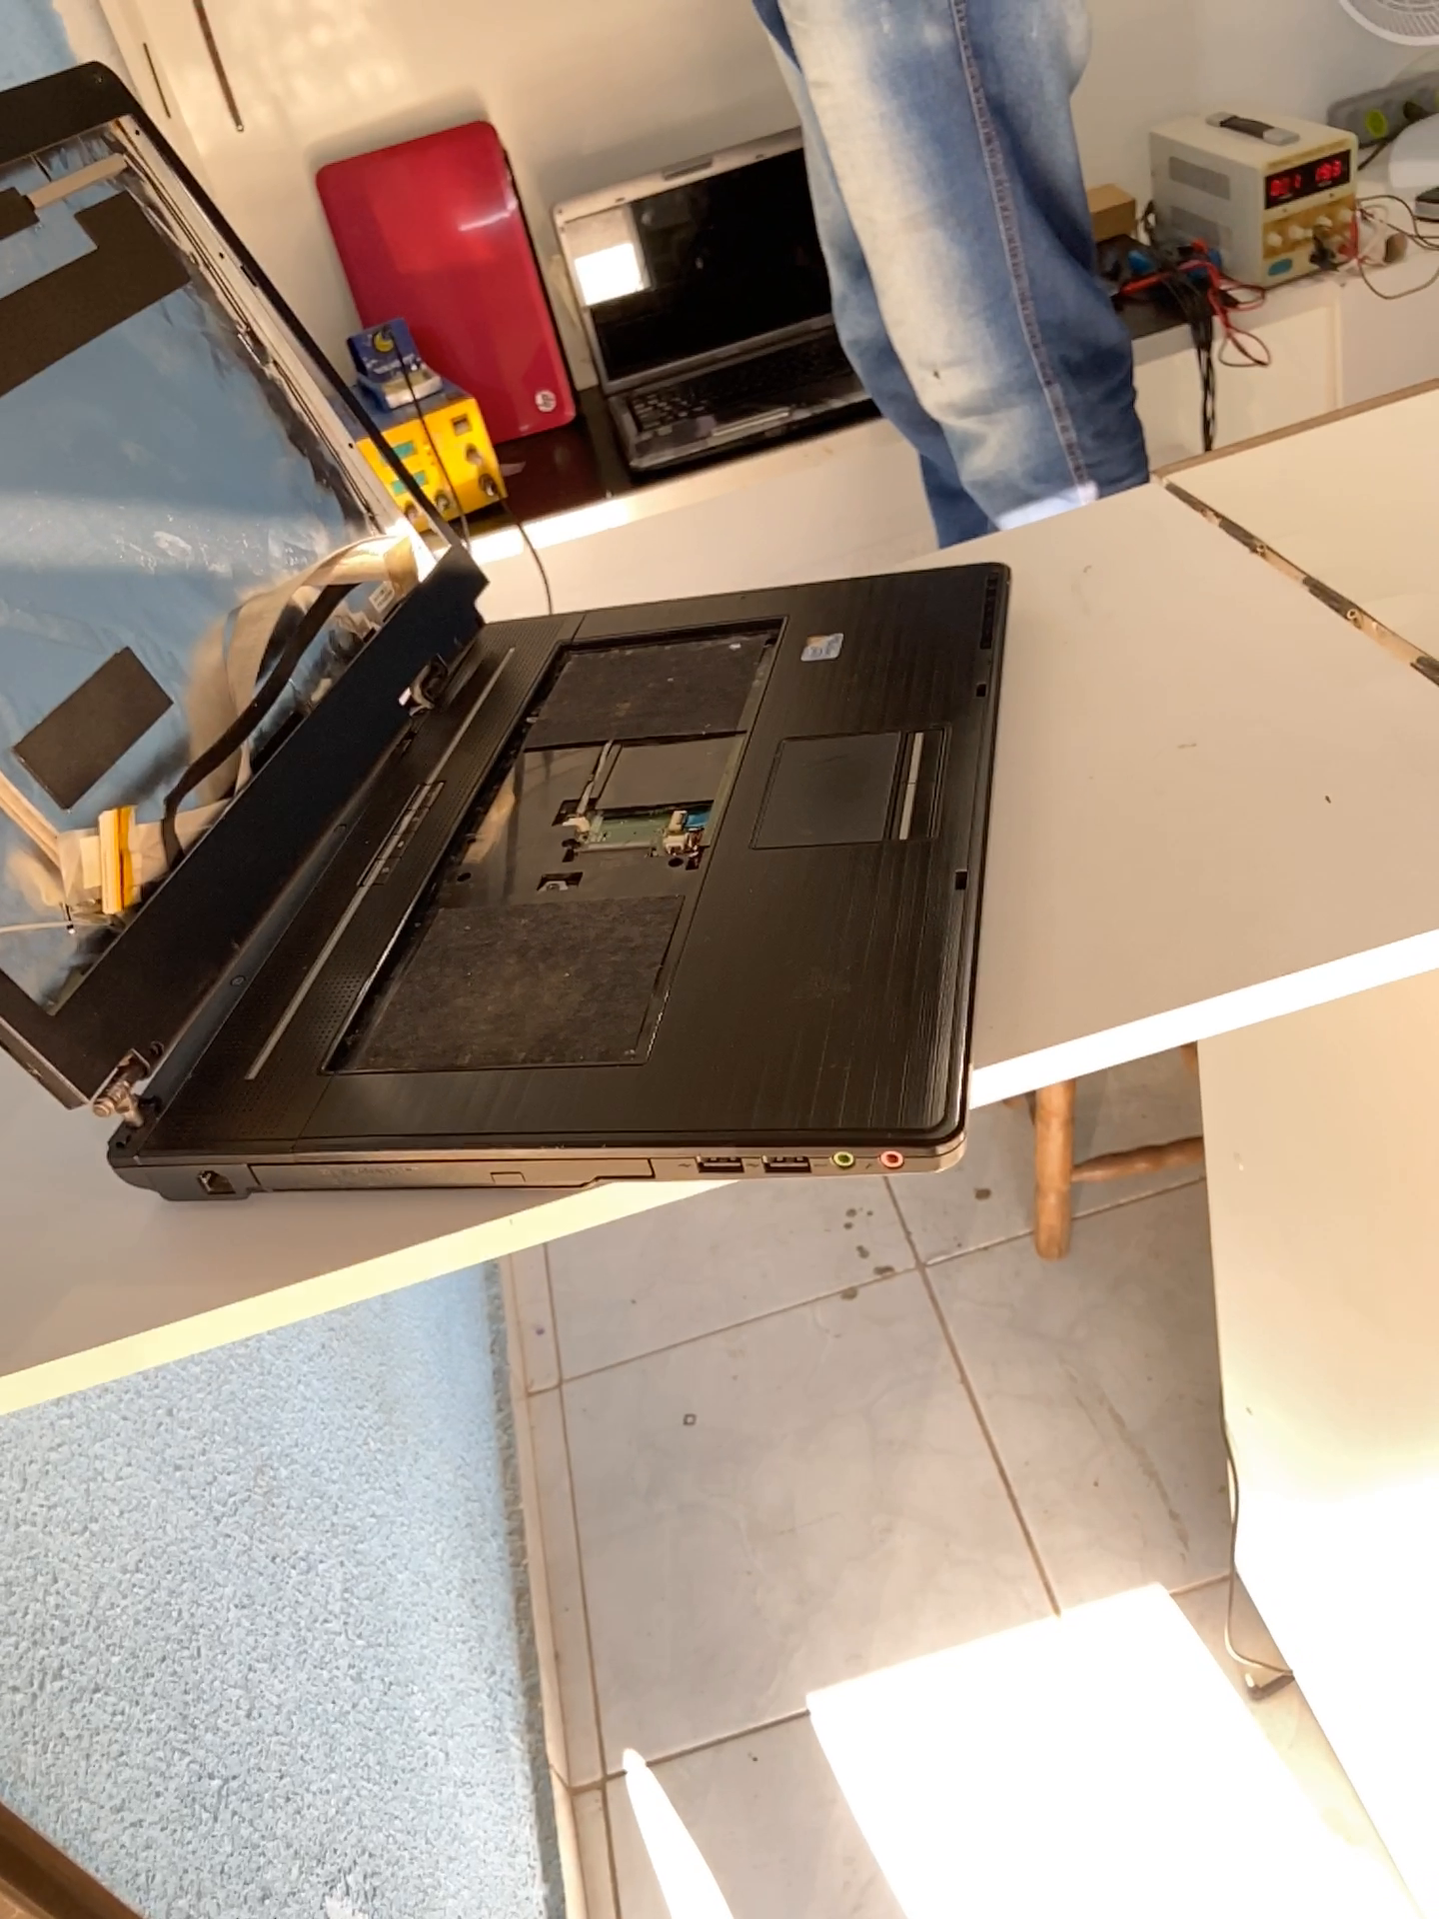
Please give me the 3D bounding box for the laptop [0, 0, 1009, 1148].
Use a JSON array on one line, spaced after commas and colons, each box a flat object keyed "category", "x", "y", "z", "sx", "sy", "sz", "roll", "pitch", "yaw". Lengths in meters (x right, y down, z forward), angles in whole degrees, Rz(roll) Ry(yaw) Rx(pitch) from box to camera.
[{"category": "laptop", "x": -0.106, "y": -0.160, "z": 0.501, "sx": 0.350, "sy": 0.261, "sz": 0.354, "roll": -3, "pitch": 39, "yaw": 18}]
